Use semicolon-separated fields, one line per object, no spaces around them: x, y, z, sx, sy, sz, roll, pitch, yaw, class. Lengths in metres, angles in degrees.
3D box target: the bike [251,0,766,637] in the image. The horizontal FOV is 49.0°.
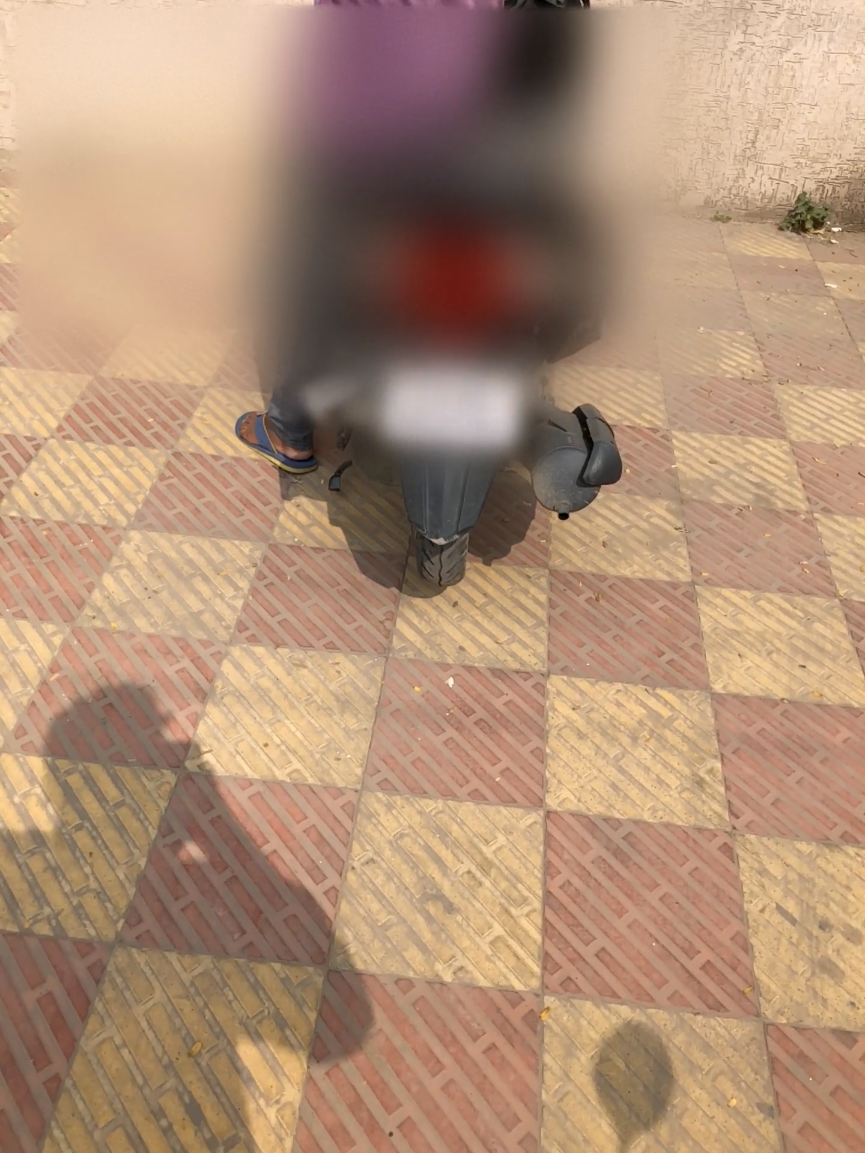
0.054;-0.762;1.967;0.574;0.987;1.516;2;40;-2;bike
